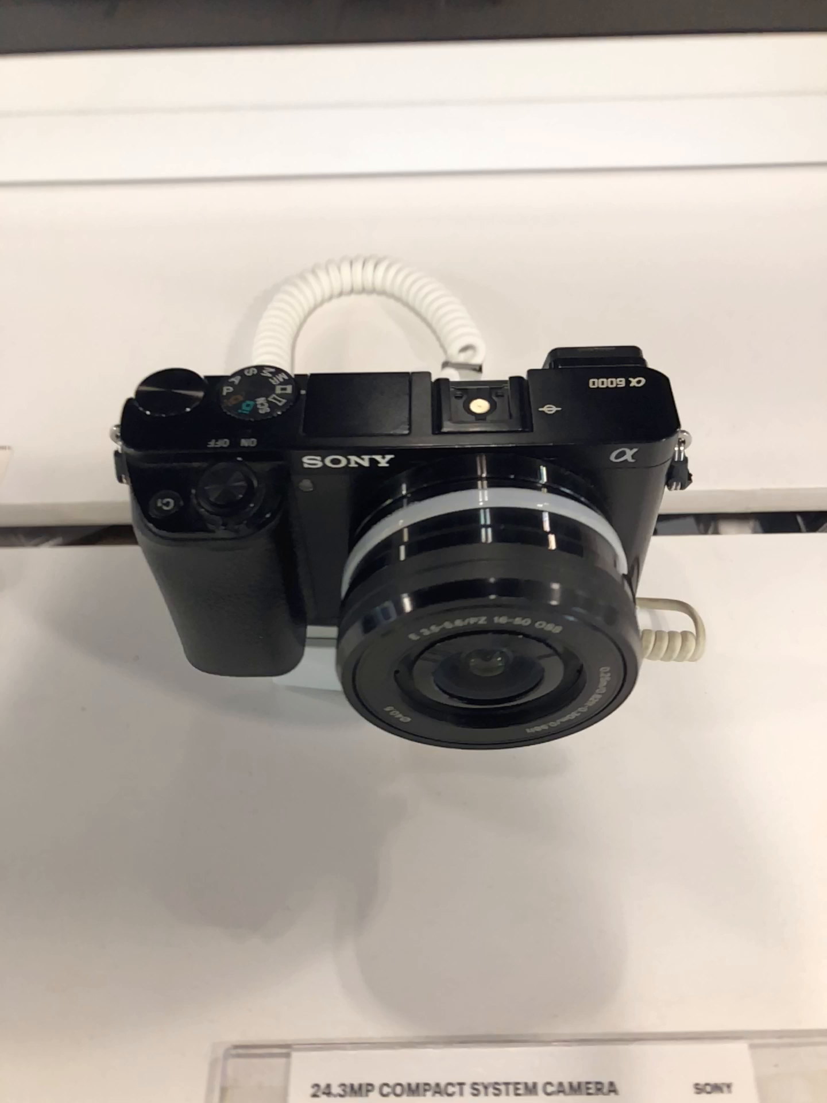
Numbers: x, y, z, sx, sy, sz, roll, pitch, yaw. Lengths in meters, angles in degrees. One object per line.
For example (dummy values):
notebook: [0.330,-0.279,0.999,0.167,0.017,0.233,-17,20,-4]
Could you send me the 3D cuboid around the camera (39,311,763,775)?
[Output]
camera: [-0.002,0.000,0.201,0.120,0.070,0.070,-2,51,1]
